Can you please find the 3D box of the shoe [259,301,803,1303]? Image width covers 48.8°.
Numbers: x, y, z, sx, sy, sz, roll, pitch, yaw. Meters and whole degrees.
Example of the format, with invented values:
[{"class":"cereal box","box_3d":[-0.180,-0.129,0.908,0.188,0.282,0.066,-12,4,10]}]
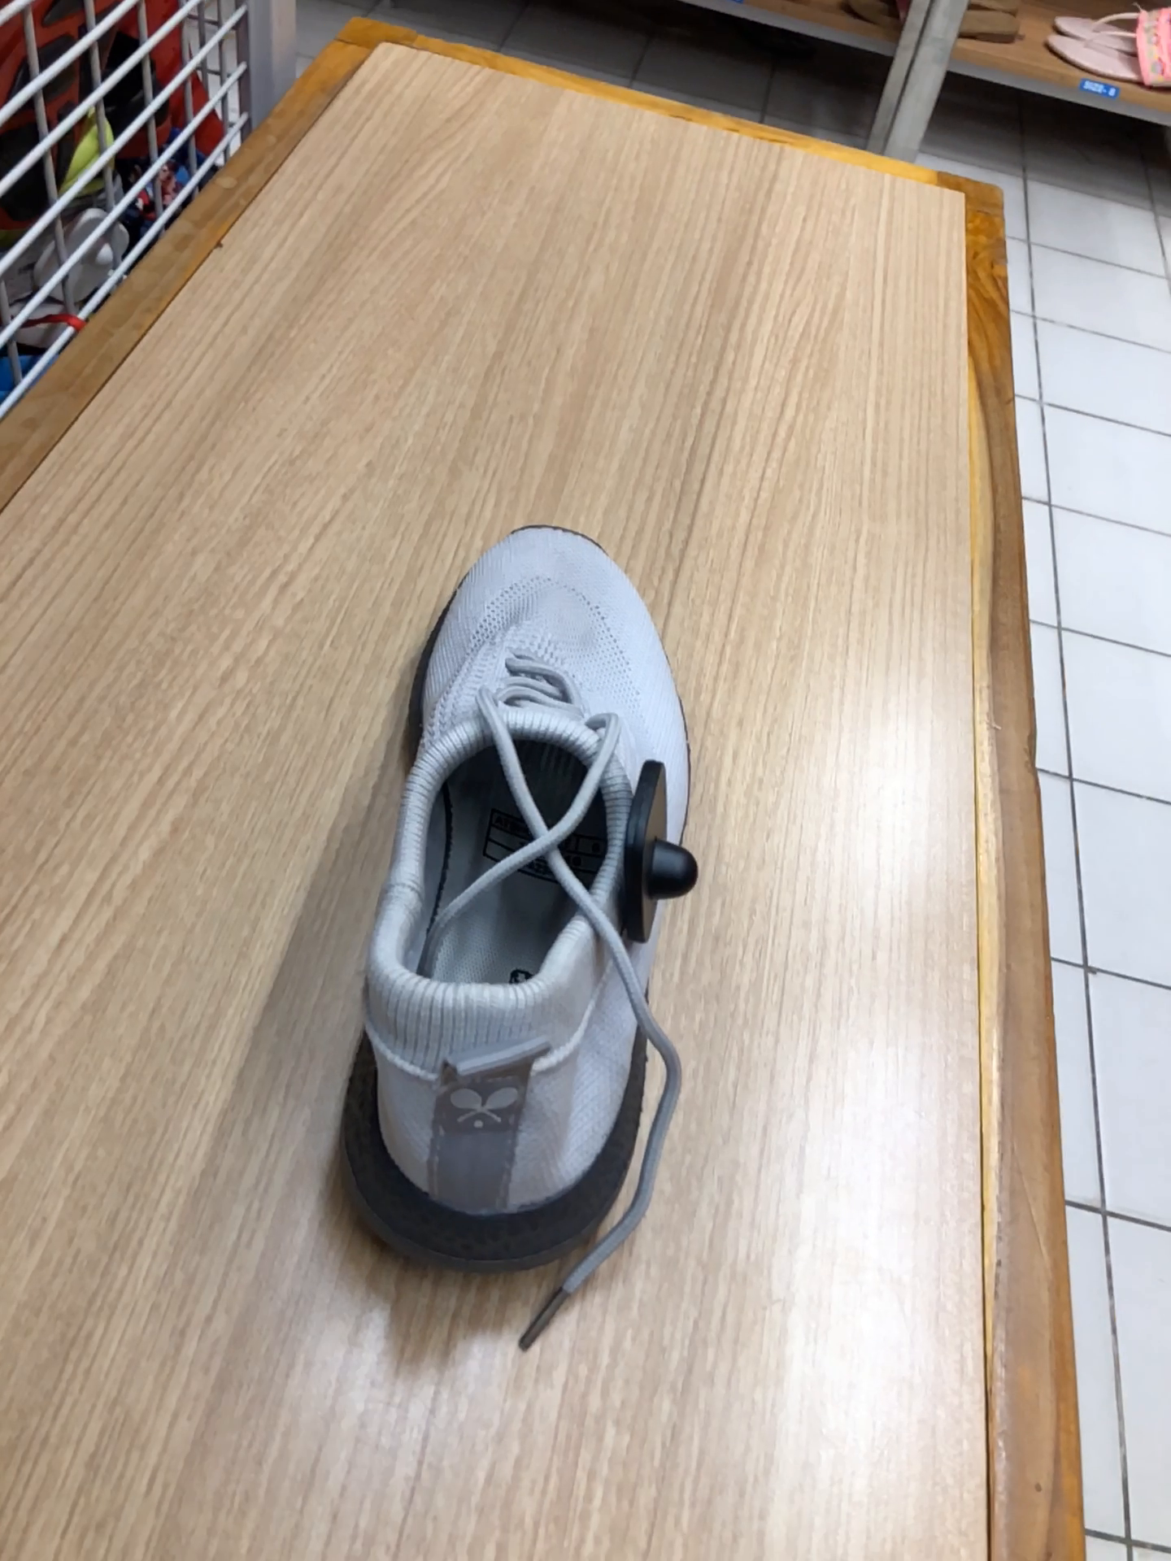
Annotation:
[{"class":"shoe","box_3d":[-0.010,-0.008,0.381,0.106,0.122,0.266,9,49,-4]}]
